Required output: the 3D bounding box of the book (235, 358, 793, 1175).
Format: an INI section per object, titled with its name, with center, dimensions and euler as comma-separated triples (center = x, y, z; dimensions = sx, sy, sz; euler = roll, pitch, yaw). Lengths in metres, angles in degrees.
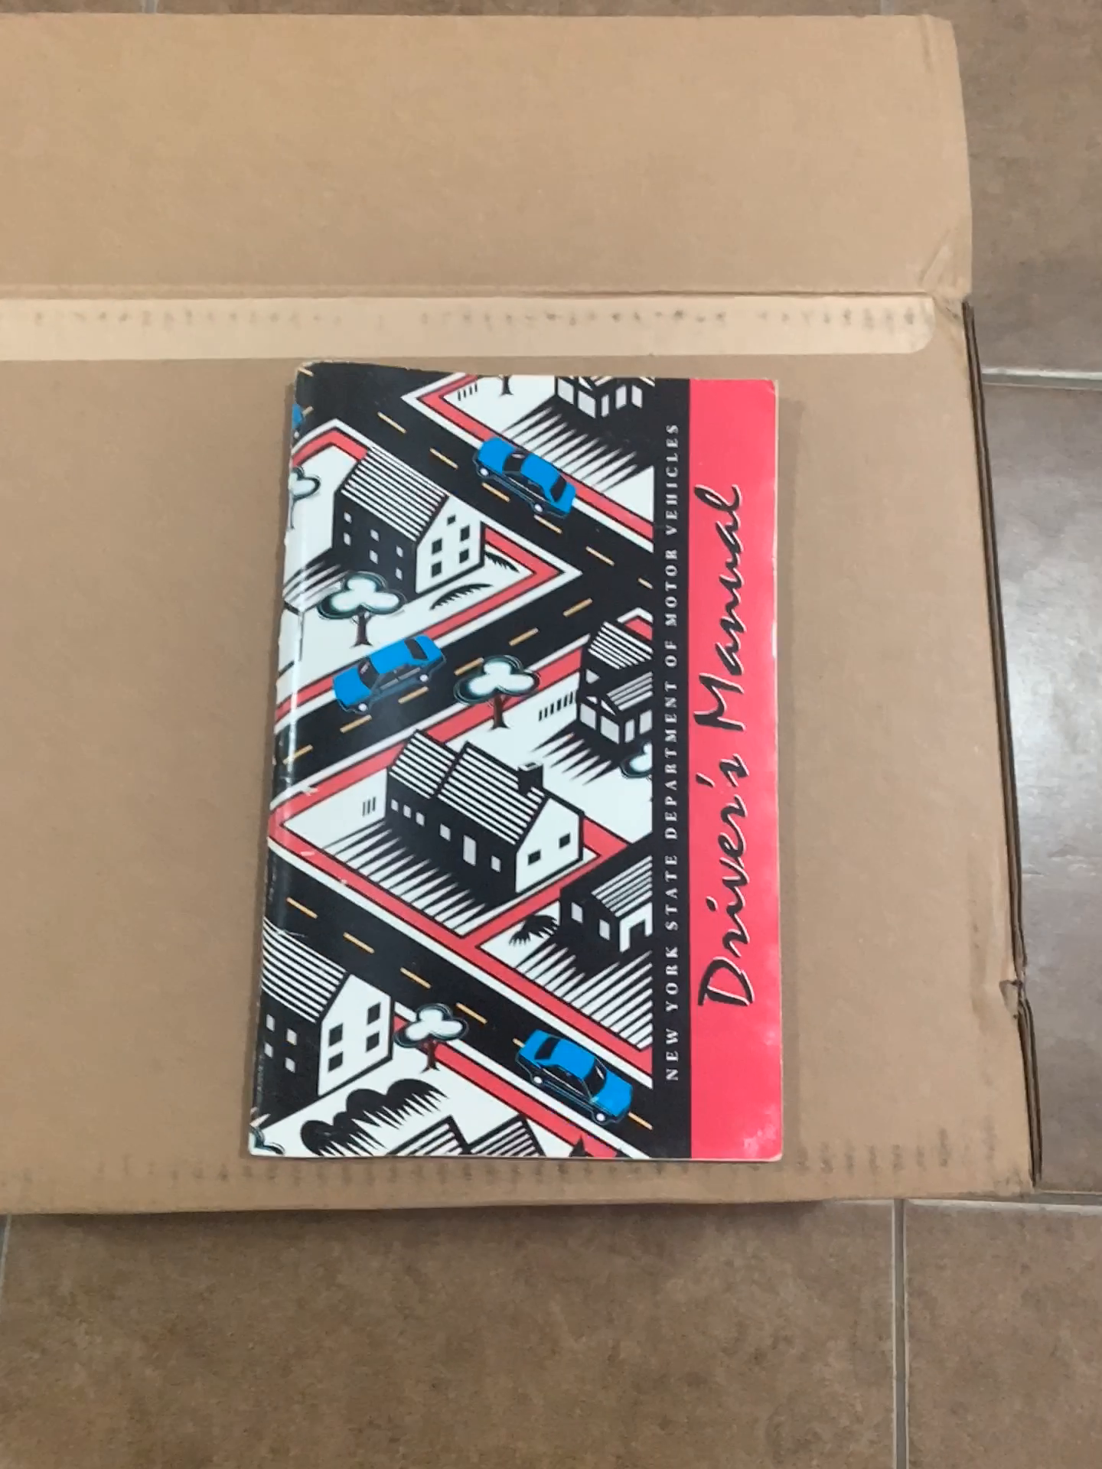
[book]
center = -0.006, 0.003, 0.294
dimensions = 0.133, 0.013, 0.207
euler = 2, 80, -1
